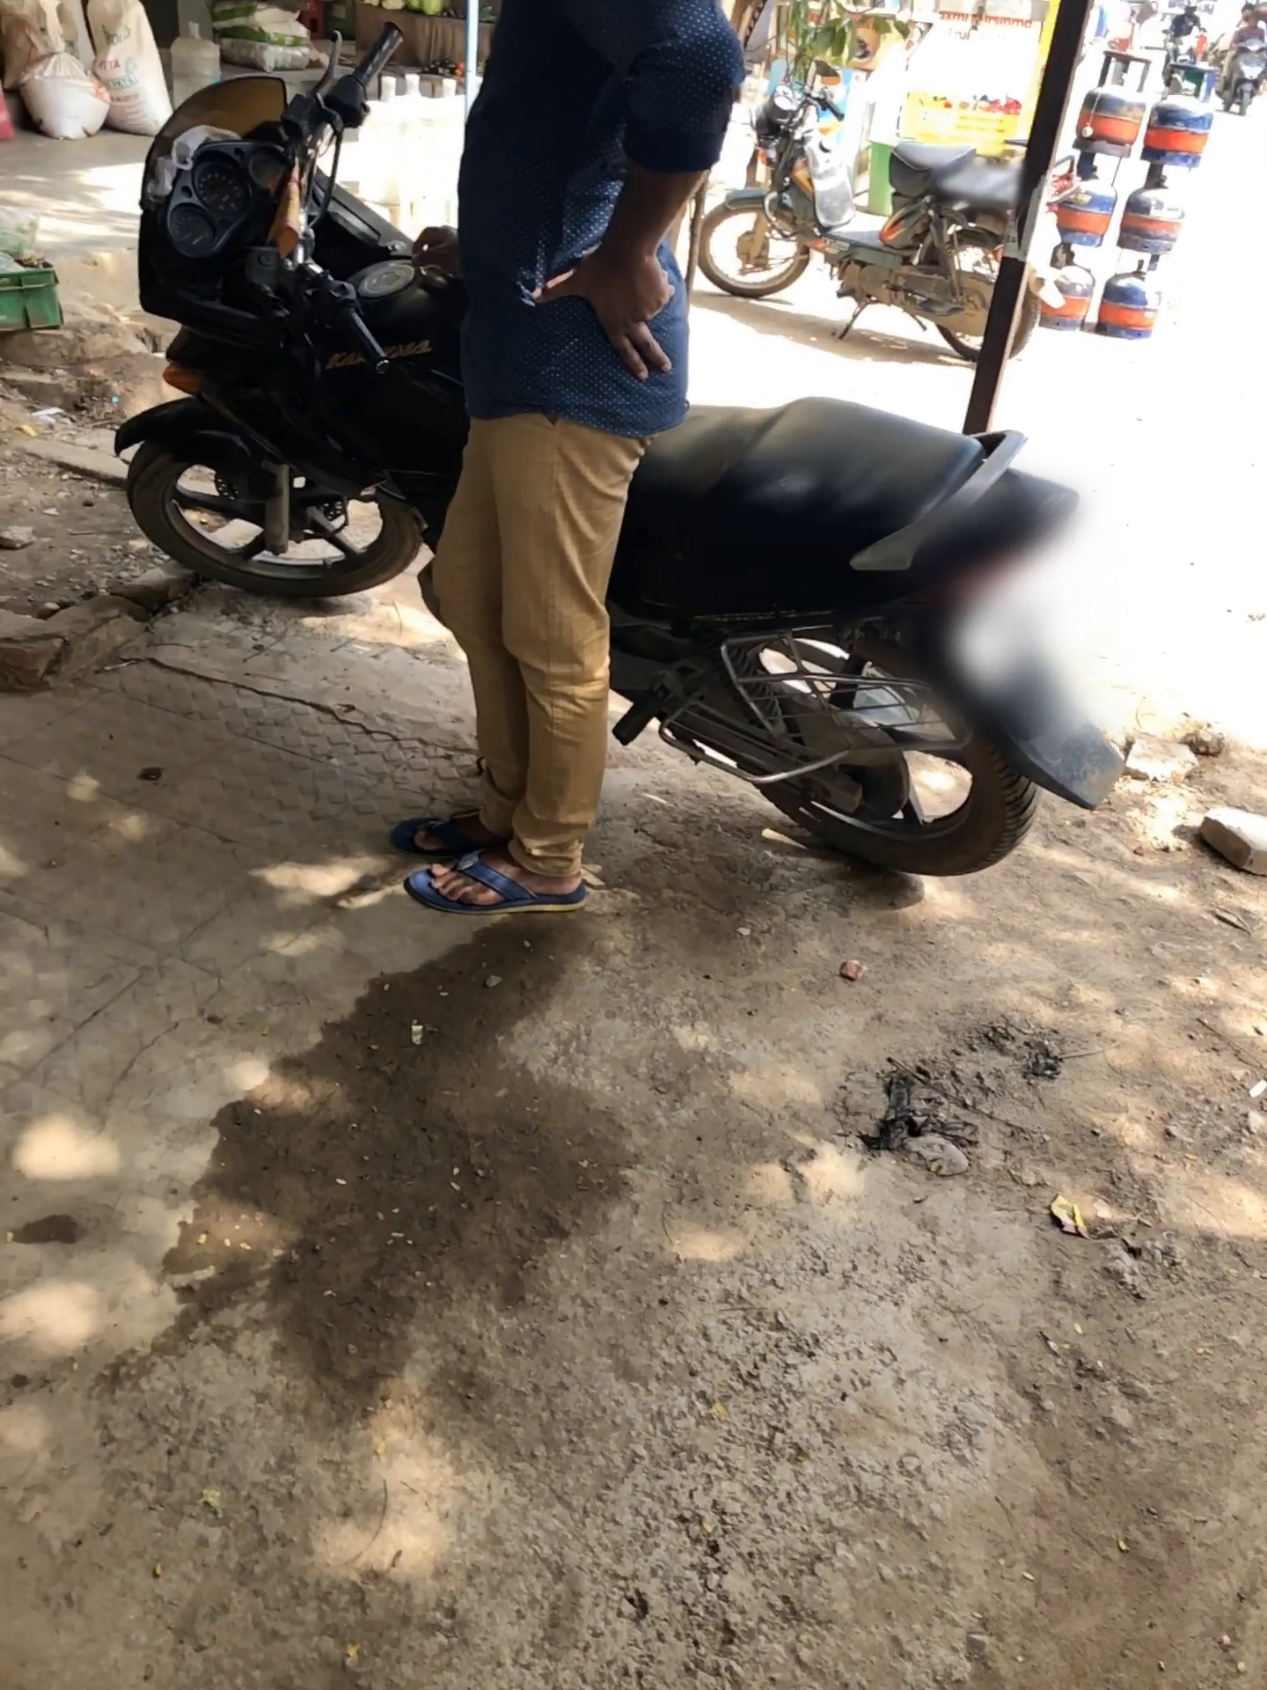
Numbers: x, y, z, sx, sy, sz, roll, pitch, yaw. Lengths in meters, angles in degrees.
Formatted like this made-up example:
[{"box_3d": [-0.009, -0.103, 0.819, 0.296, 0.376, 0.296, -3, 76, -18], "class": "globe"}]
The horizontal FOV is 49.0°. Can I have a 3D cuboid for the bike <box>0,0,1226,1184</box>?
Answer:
[{"box_3d": [-0.358, -0.570, 2.096, 1.891, 1.176, 0.802, 23, 36, 21], "class": "bike"}]
